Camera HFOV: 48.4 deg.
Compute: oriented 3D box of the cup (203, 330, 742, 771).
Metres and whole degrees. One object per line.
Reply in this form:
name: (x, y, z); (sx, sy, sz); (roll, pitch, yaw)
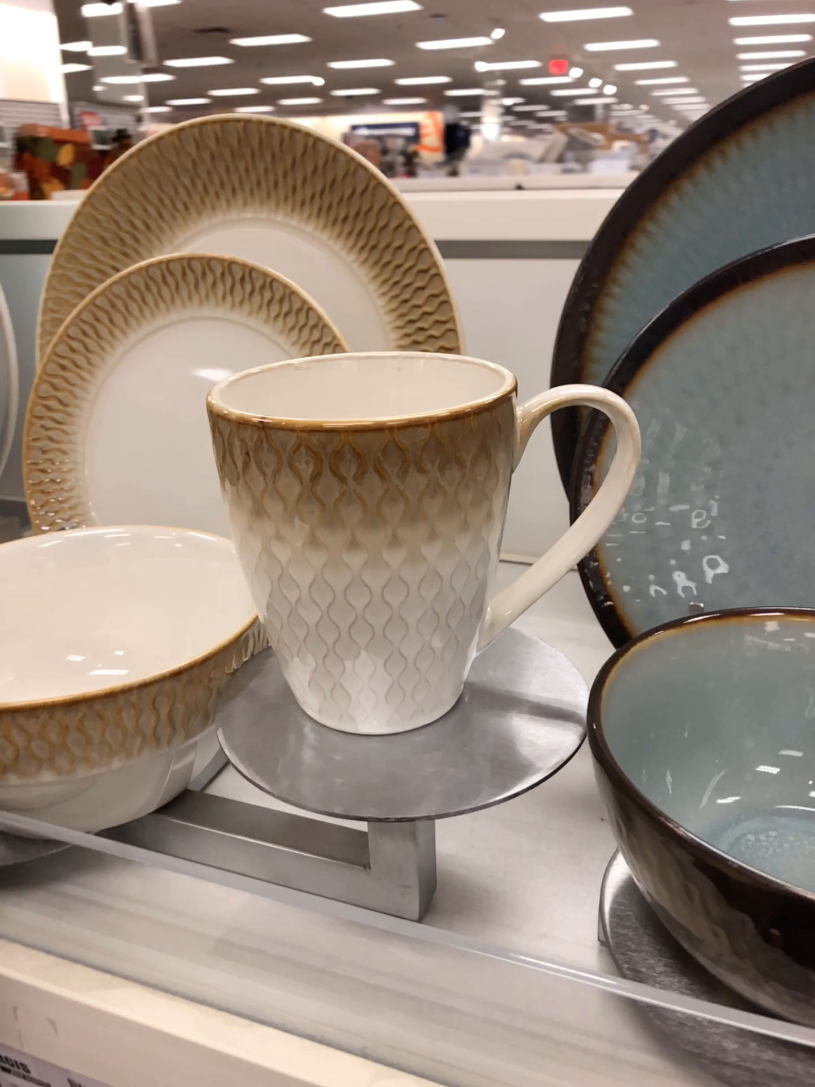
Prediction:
cup: (0.012, -0.009, 0.279); (0.128, 0.089, 0.100); (-8, 23, -15)
